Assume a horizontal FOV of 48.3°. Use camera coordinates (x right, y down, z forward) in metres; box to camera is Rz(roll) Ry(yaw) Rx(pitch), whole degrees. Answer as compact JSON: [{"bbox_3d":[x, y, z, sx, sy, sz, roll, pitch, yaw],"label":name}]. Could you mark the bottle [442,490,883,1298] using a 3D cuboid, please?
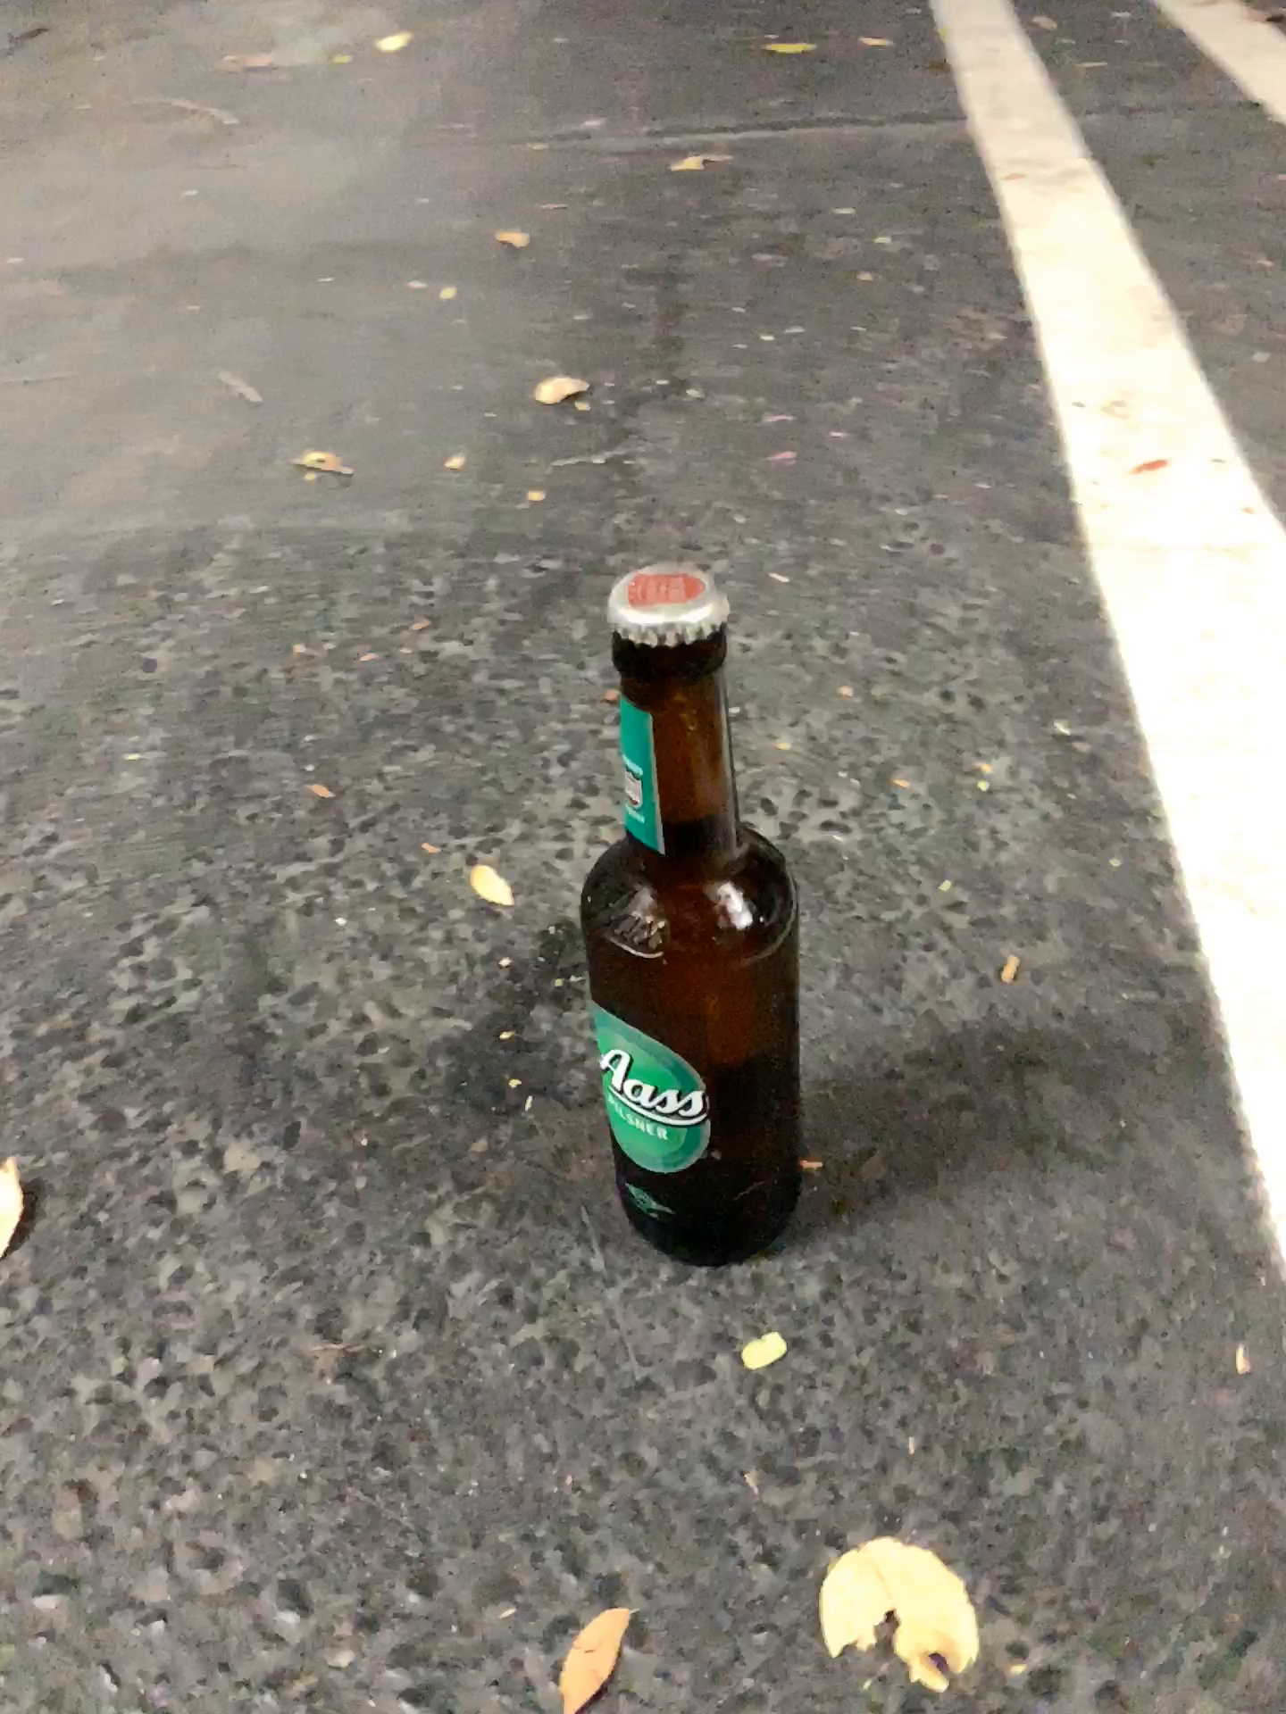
[{"bbox_3d":[0.013,0.019,0.387,0.070,0.210,0.070,-3,42,3],"label":"bottle"}]
